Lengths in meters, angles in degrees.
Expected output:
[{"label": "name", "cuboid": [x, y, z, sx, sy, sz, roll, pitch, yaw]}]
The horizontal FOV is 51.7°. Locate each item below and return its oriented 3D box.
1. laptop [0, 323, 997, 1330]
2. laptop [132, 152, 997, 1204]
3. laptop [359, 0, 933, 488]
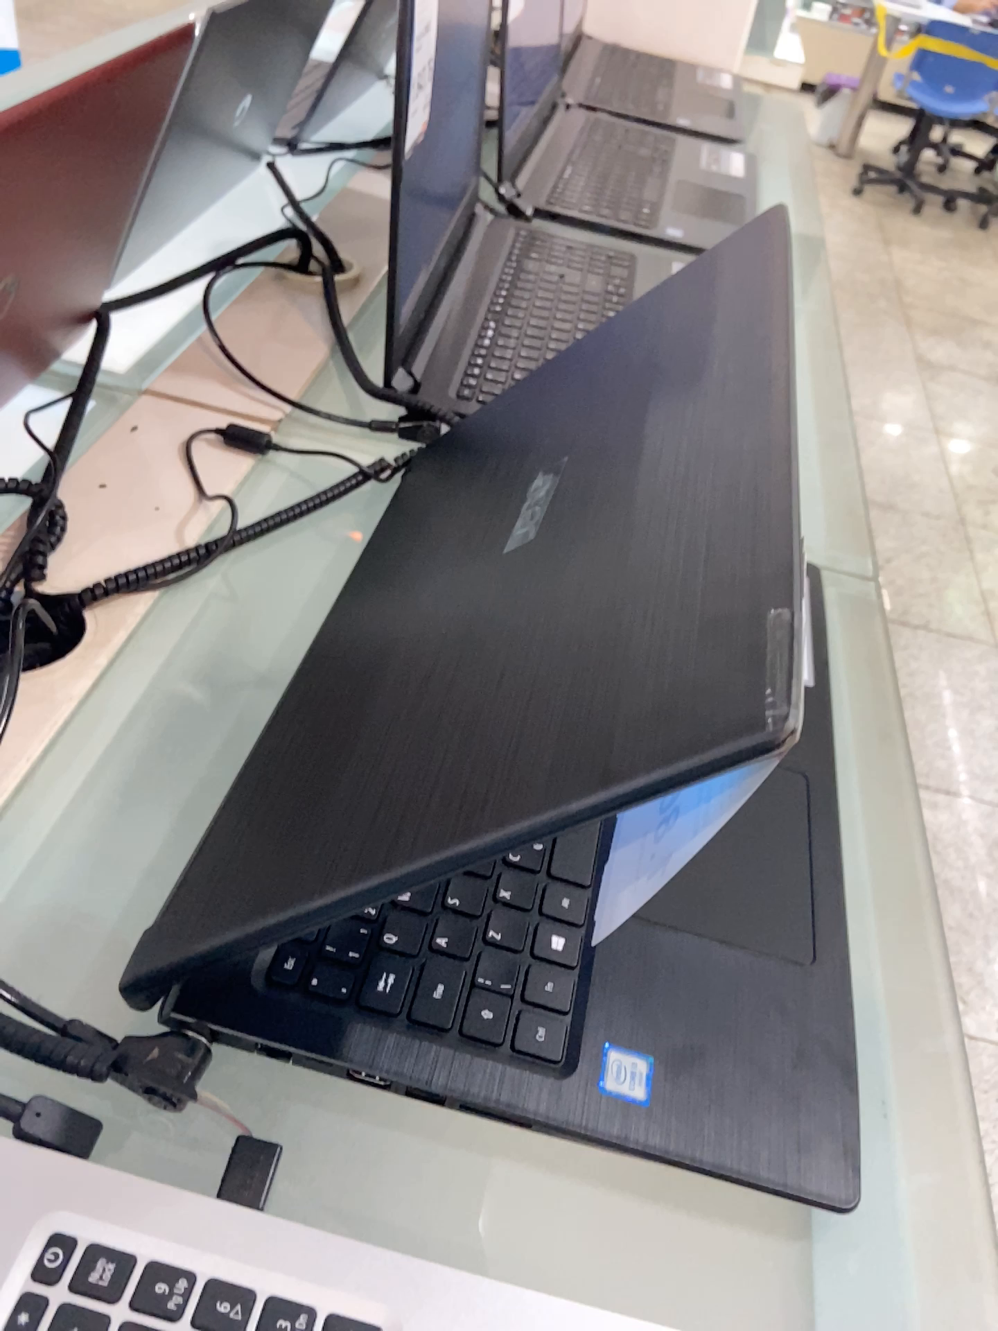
[{"label": "laptop", "cuboid": [-0.096, 0.200, 0.079, 0.301, 0.233, 0.398, 15, 42, 3]}, {"label": "laptop", "cuboid": [0.058, -0.039, 0.424, 0.233, 0.186, 0.376, 15, 41, 3]}, {"label": "laptop", "cuboid": [0.083, -0.382, 0.770, 0.284, 0.245, 0.433, 12, 40, -1]}]
